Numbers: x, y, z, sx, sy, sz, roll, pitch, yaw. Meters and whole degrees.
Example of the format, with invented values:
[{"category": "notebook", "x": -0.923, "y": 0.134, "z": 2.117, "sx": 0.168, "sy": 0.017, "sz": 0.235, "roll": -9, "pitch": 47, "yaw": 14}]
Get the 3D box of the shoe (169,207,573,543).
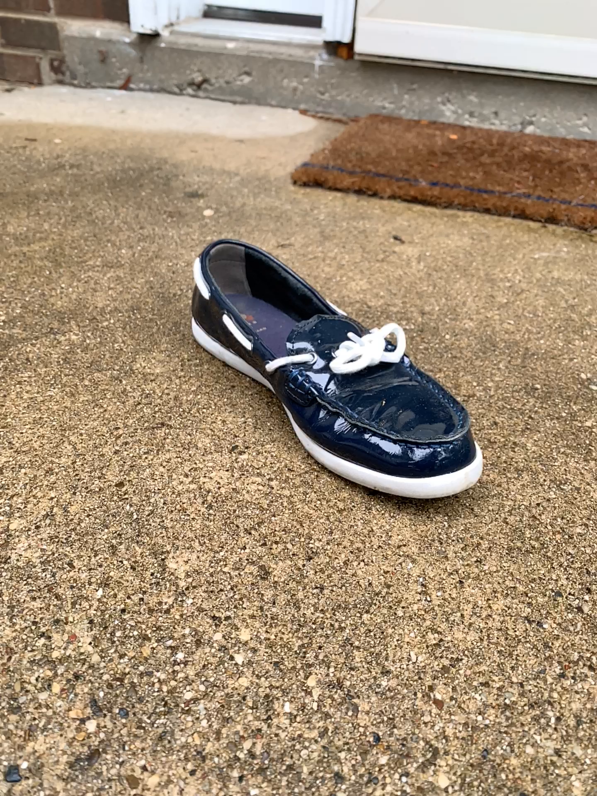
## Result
[{"category": "shoe", "x": 0.023, "y": -0.037, "z": 0.388, "sx": 0.101, "sy": 0.083, "sz": 0.246, "roll": -20, "pitch": 41, "yaw": -32}]
